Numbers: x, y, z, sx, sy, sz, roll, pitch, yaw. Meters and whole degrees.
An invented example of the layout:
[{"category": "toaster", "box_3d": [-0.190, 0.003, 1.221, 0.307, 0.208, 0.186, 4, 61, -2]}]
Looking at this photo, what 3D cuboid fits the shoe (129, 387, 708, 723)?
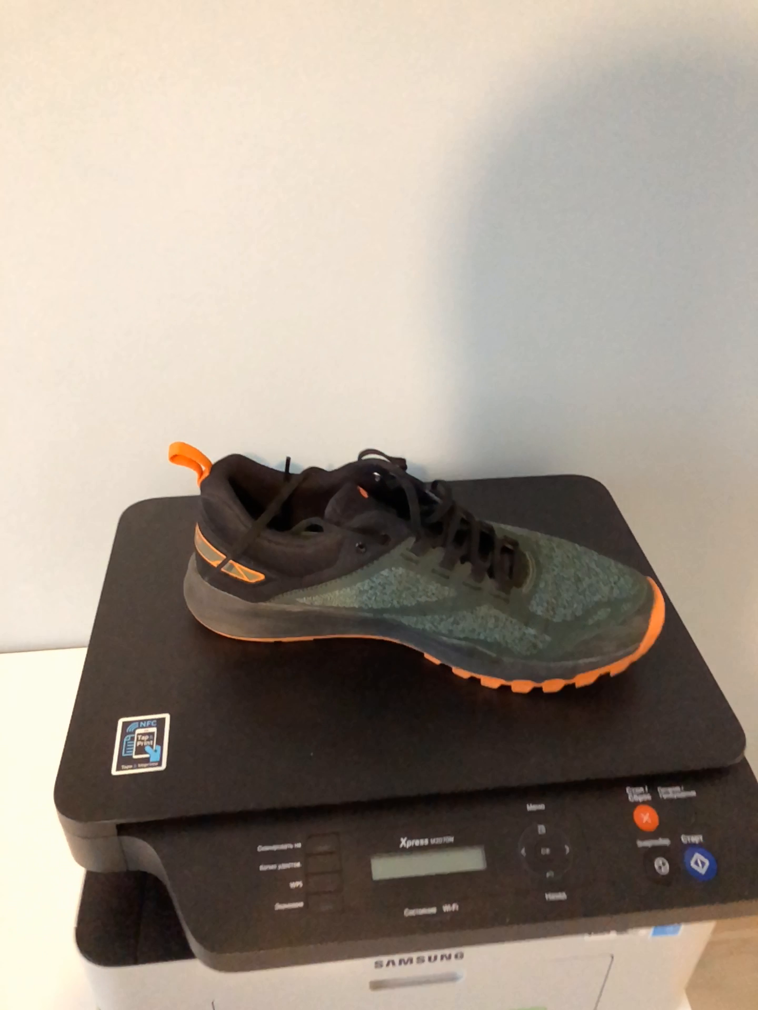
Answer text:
[{"category": "shoe", "box_3d": [0.024, 0.024, 0.521, 0.310, 0.119, 0.121, 8, 37, 9]}]
